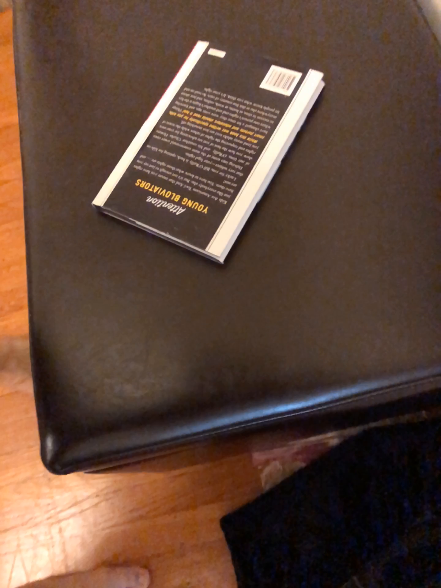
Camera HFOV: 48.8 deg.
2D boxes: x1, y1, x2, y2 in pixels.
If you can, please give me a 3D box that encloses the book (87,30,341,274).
[{"bbox_3d":[-0.004,-0.151,0.479,0.160,0.020,0.230,24,76,19],"label":"book"}]
